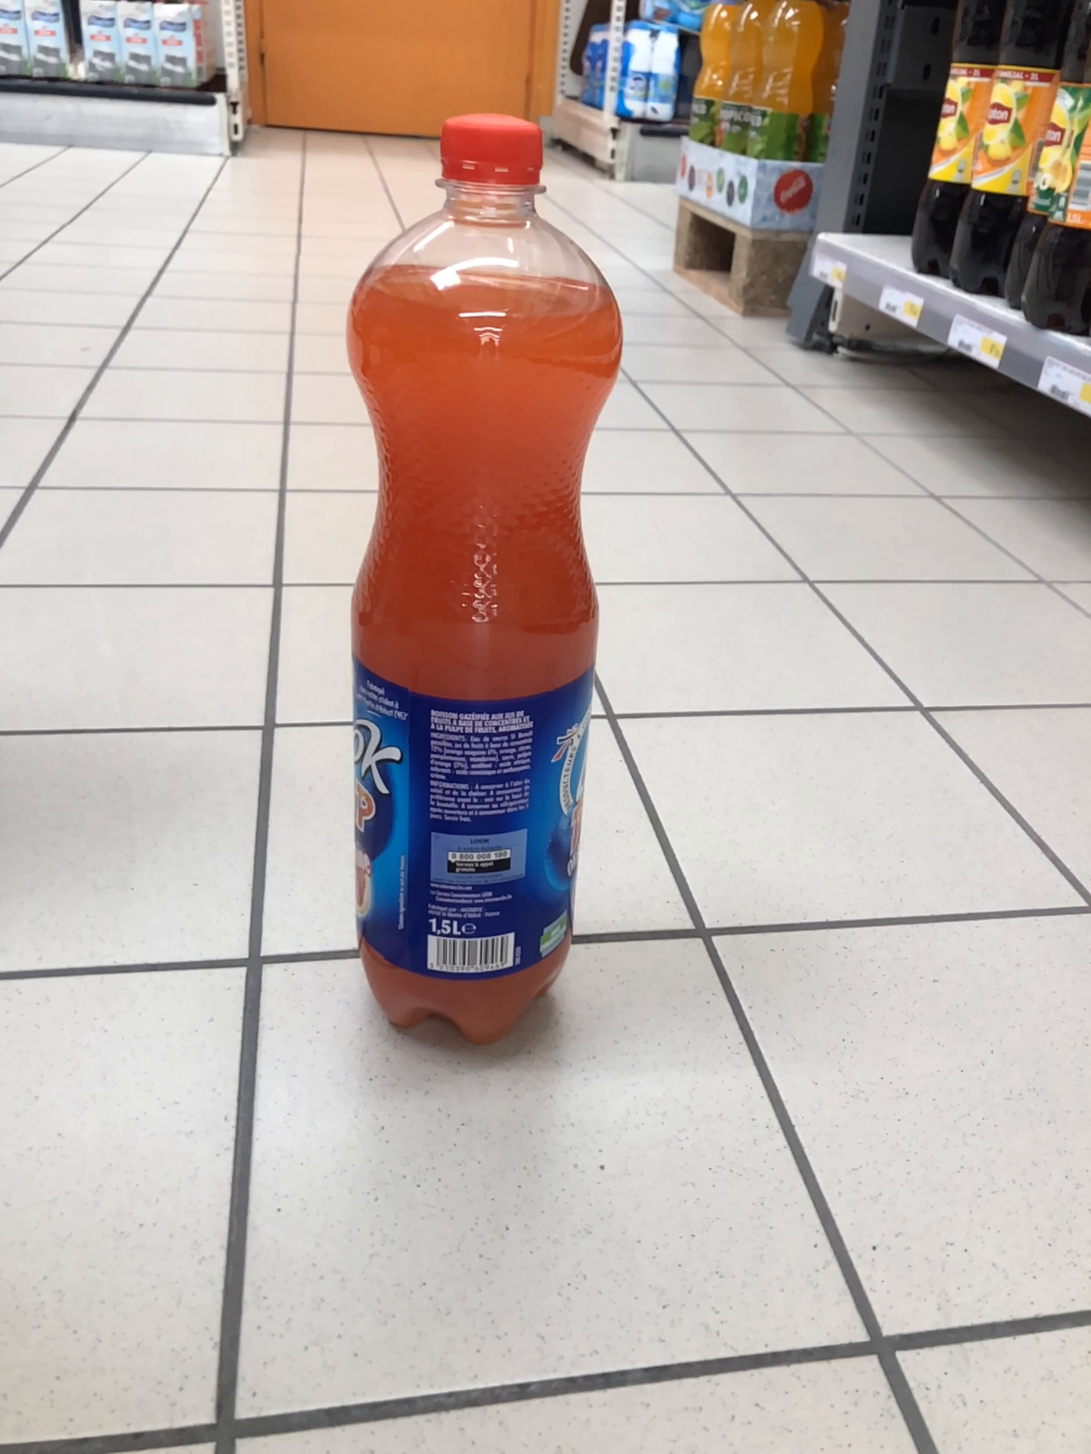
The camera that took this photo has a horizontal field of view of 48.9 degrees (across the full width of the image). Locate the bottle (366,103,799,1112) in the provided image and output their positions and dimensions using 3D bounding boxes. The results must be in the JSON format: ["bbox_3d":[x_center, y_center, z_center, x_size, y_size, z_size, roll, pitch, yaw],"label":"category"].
[{"bbox_3d":[-0.004,-0.027,0.397,0.100,0.308,0.111,2,28,-4],"label":"bottle"}]
